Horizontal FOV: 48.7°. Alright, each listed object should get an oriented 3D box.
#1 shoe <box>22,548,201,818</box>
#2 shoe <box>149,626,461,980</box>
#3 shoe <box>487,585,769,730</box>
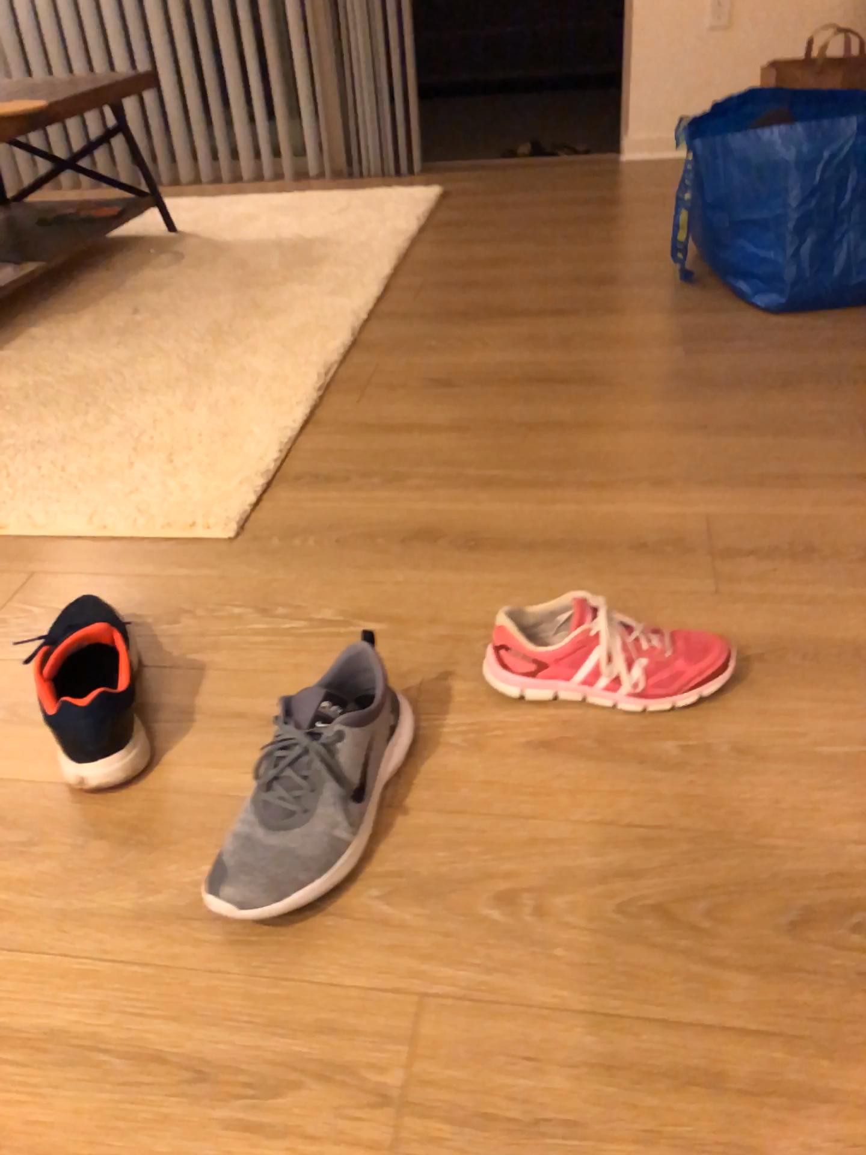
[{"bbox_3d":[-0.367,0.101,1.069,0.130,0.099,0.322,-17,35,-17],"label":"shoe"},{"bbox_3d":[-0.100,0.189,0.896,0.130,0.099,0.322,11,37,23],"label":"shoe"},{"bbox_3d":[0.203,0.086,1.042,0.280,0.099,0.121,-1,34,6],"label":"shoe"}]
